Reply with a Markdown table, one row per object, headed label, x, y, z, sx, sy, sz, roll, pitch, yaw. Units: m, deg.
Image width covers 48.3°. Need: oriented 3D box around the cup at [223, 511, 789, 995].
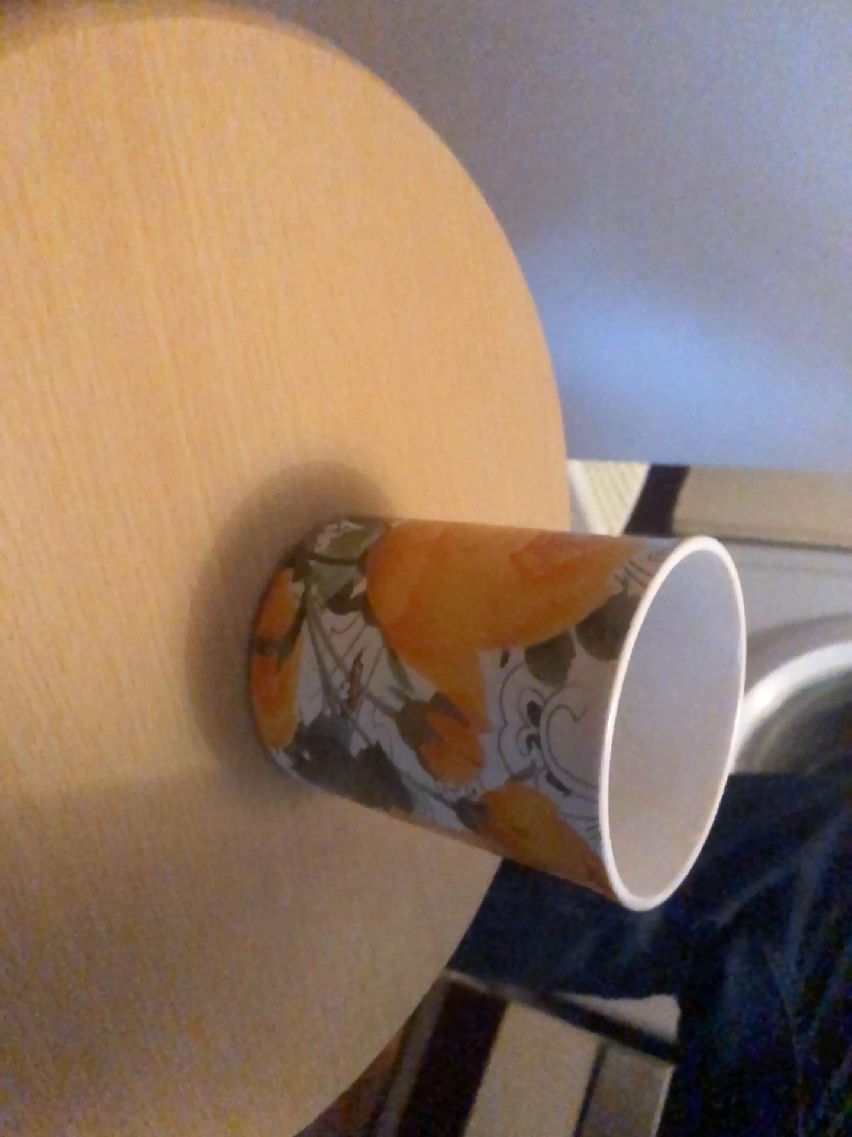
| label | x | y | z | sx | sy | sz | roll | pitch | yaw |
| --- | --- | --- | --- | --- | --- | --- | --- | --- | --- |
| cup | 0.024 | 0.030 | 0.245 | 0.111 | 0.097 | 0.082 | -6 | 101 | -53 |
